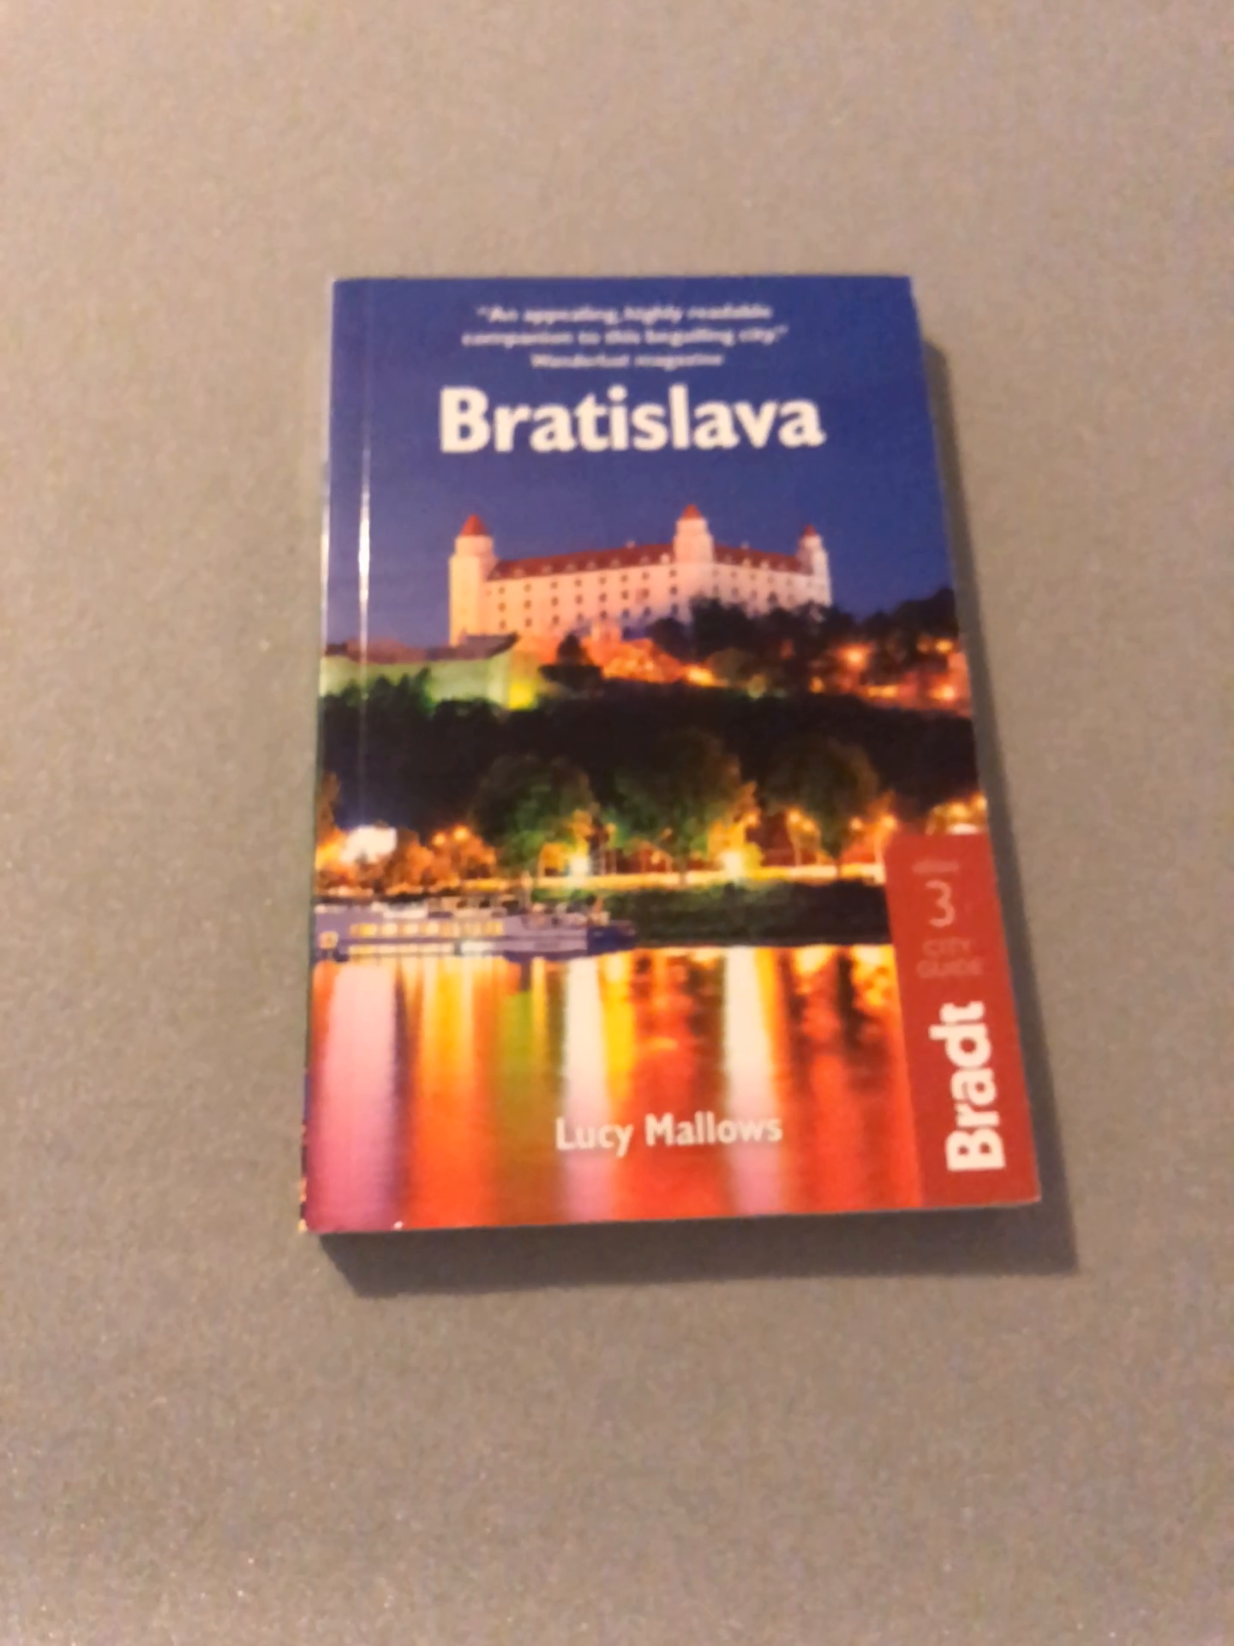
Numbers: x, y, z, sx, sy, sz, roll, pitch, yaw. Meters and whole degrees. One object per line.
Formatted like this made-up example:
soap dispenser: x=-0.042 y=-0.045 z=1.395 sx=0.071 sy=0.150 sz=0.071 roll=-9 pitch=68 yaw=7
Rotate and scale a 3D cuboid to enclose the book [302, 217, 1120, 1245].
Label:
book: x=0.013 y=-0.027 z=0.282 sx=0.140 sy=0.020 sz=0.210 roll=-2 pitch=72 yaw=0
